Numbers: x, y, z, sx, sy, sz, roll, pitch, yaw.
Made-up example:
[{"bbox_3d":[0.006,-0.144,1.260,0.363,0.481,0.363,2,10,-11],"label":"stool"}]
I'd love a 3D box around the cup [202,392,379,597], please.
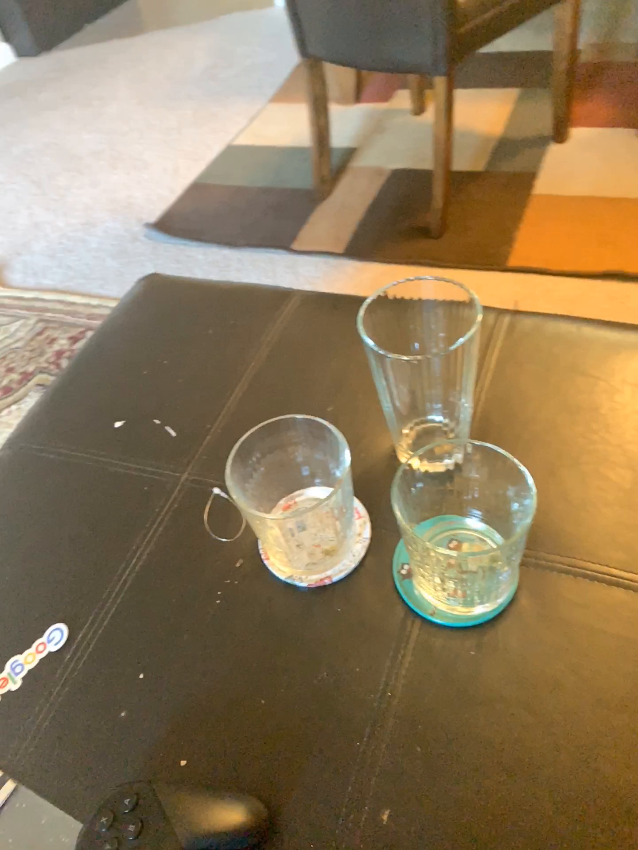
[{"bbox_3d":[-0.018,0.055,0.520,0.090,0.109,0.080,-41,53,-21],"label":"cup"}]

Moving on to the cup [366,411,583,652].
[{"bbox_3d":[0.104,0.070,0.446,0.100,0.089,0.090,-41,53,-21],"label":"cup"}]

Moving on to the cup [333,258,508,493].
[{"bbox_3d":[0.081,-0.036,0.509,0.080,0.139,0.090,-40,53,-21],"label":"cup"}]
